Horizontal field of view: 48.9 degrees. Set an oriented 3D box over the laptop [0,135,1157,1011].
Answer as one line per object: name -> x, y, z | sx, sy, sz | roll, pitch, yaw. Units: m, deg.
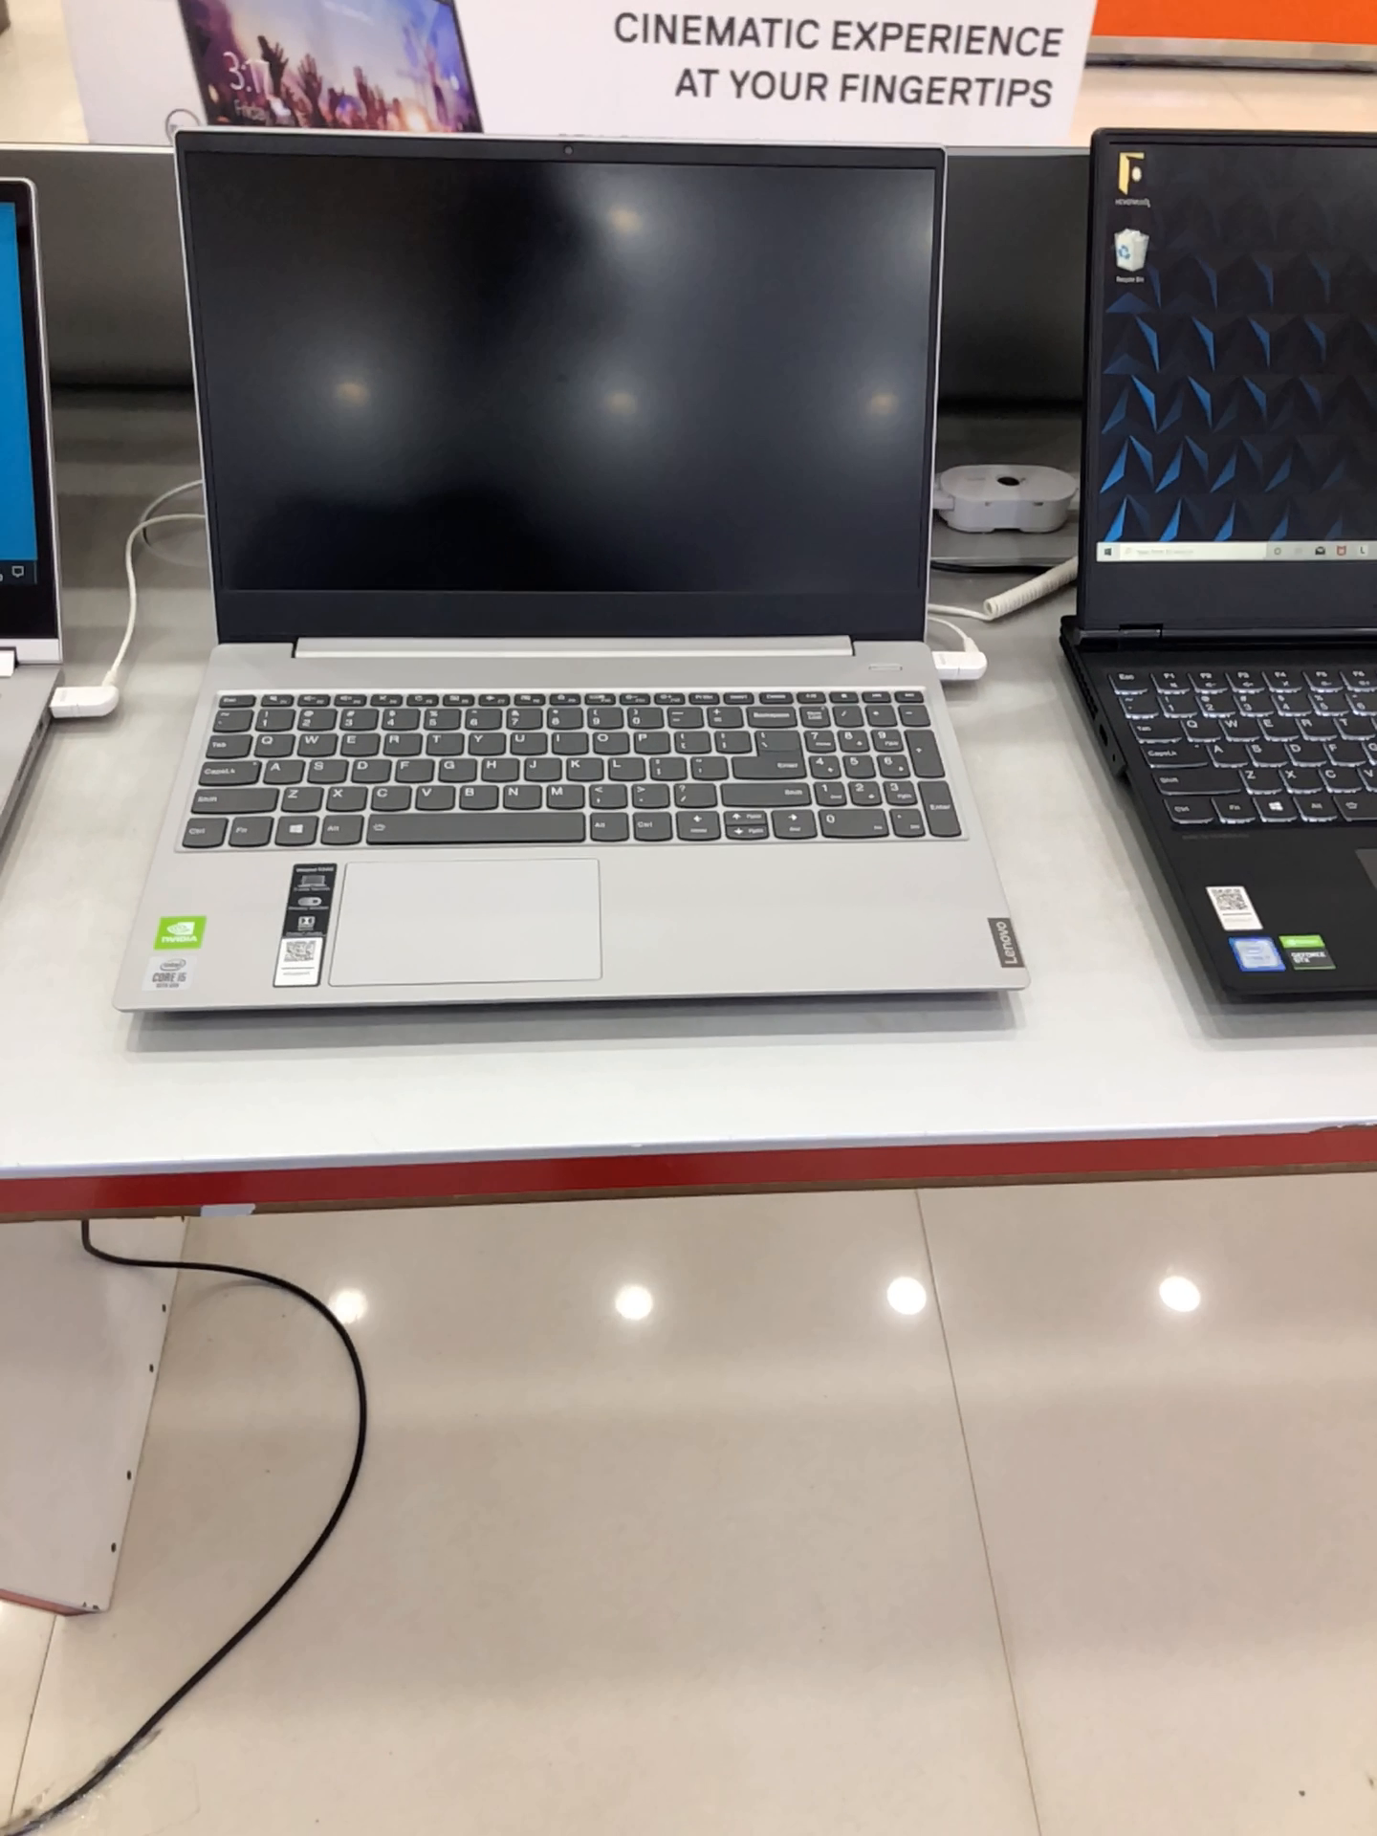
laptop -> -0.045, -0.163, 0.630 | 0.342, 0.196, 0.346 | -2, 44, -4
